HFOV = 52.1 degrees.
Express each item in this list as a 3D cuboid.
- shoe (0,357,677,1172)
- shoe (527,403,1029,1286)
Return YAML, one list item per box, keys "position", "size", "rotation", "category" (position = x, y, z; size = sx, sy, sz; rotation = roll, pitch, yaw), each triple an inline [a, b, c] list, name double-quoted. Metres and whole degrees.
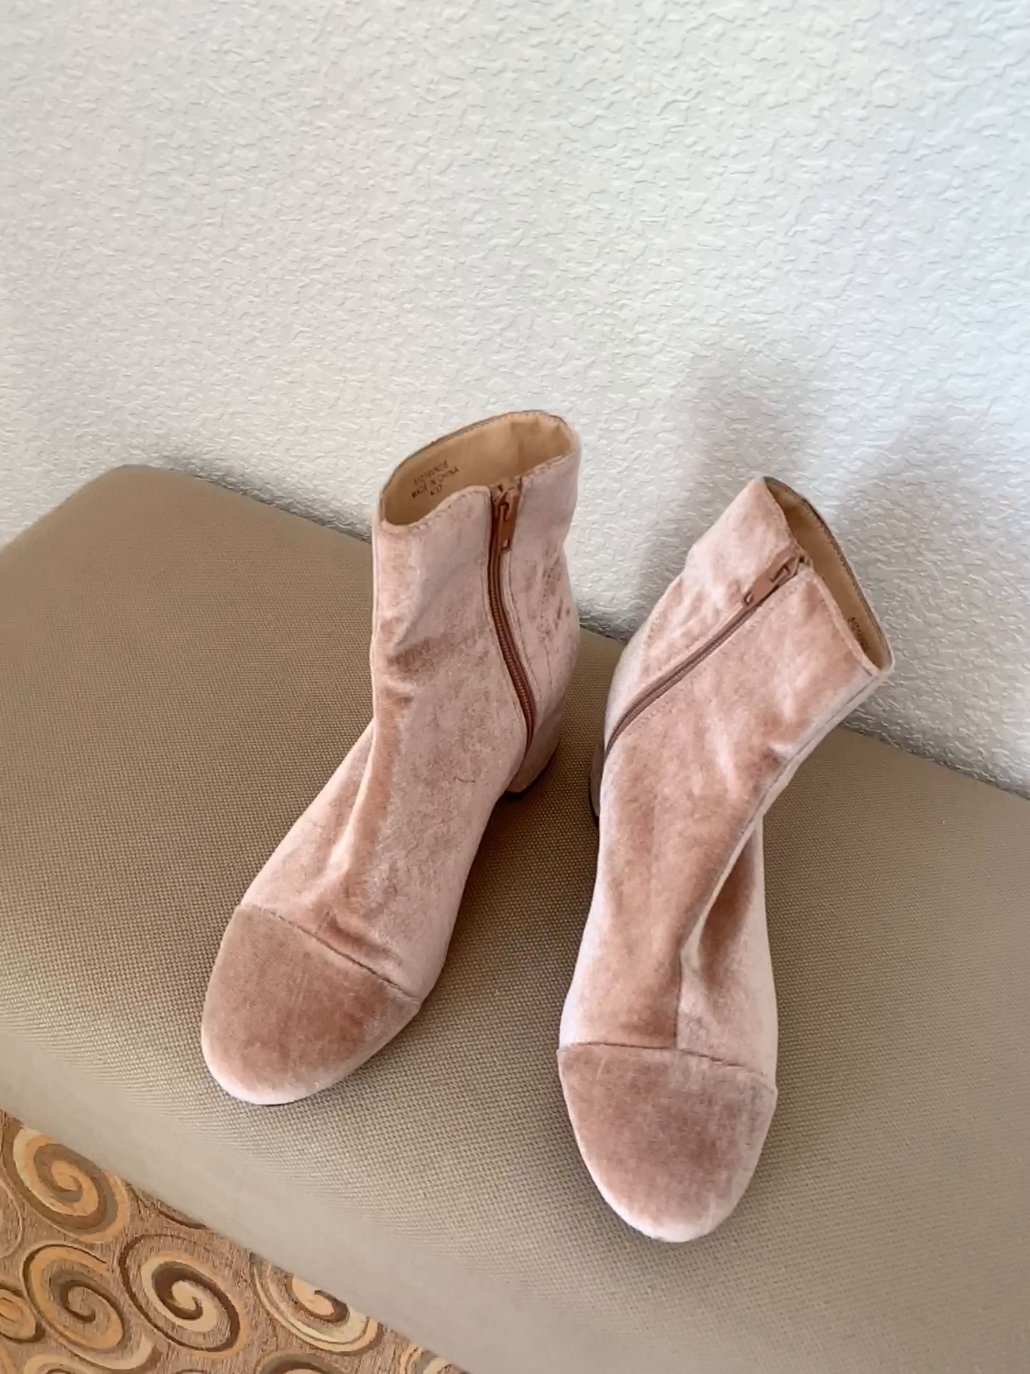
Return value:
- position: [-0.045, 0.019, 0.390]
  size: [0.100, 0.169, 0.231]
  rotation: [24, 49, 13]
  category: "shoe"
- position: [0.078, 0.047, 0.400]
  size: [0.100, 0.169, 0.271]
  rotation: [9, 47, -1]
  category: "shoe"
